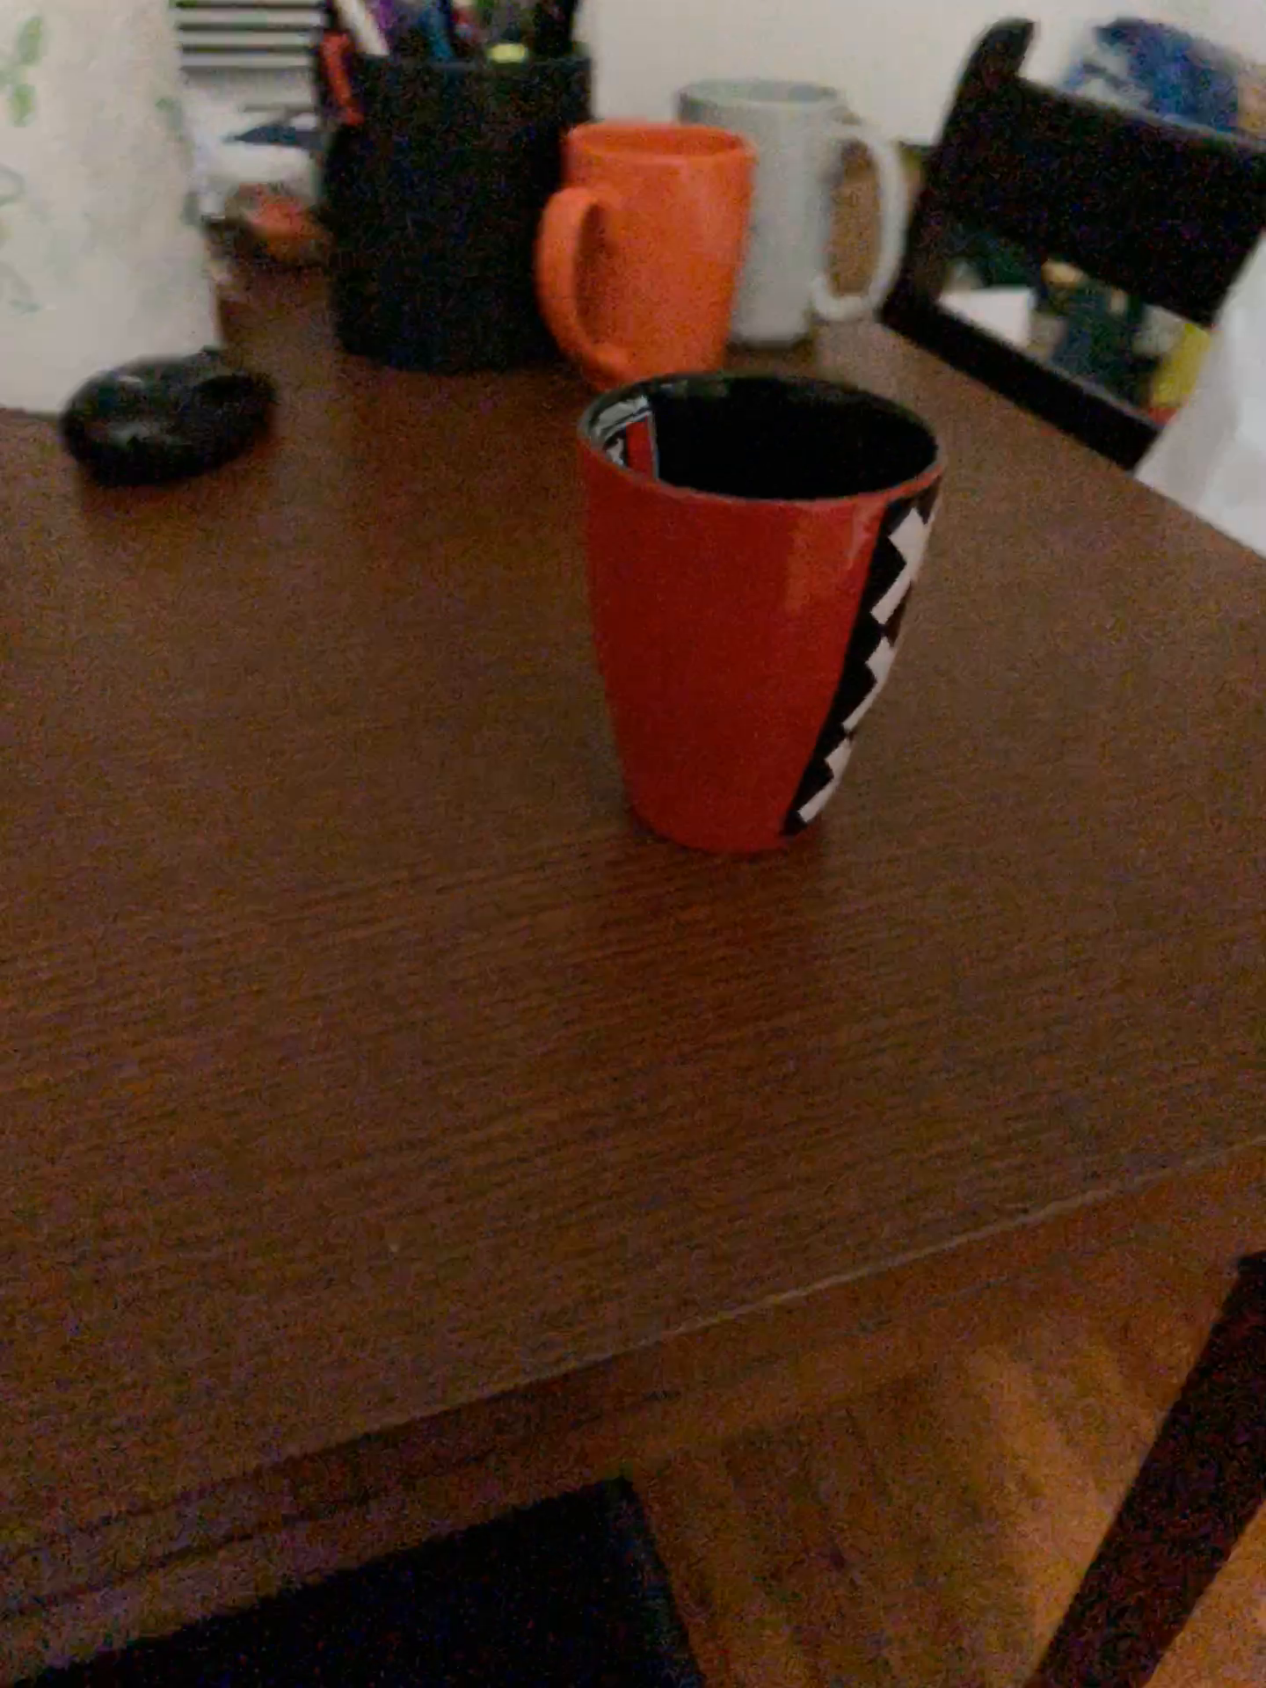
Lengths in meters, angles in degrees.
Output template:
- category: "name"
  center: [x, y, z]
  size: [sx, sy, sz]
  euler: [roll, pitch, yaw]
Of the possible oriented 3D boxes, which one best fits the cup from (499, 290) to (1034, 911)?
- category: "cup"
  center: [0.037, -0.071, 0.347]
  size: [0.090, 0.099, 0.131]
  euler: [17, 39, 18]
